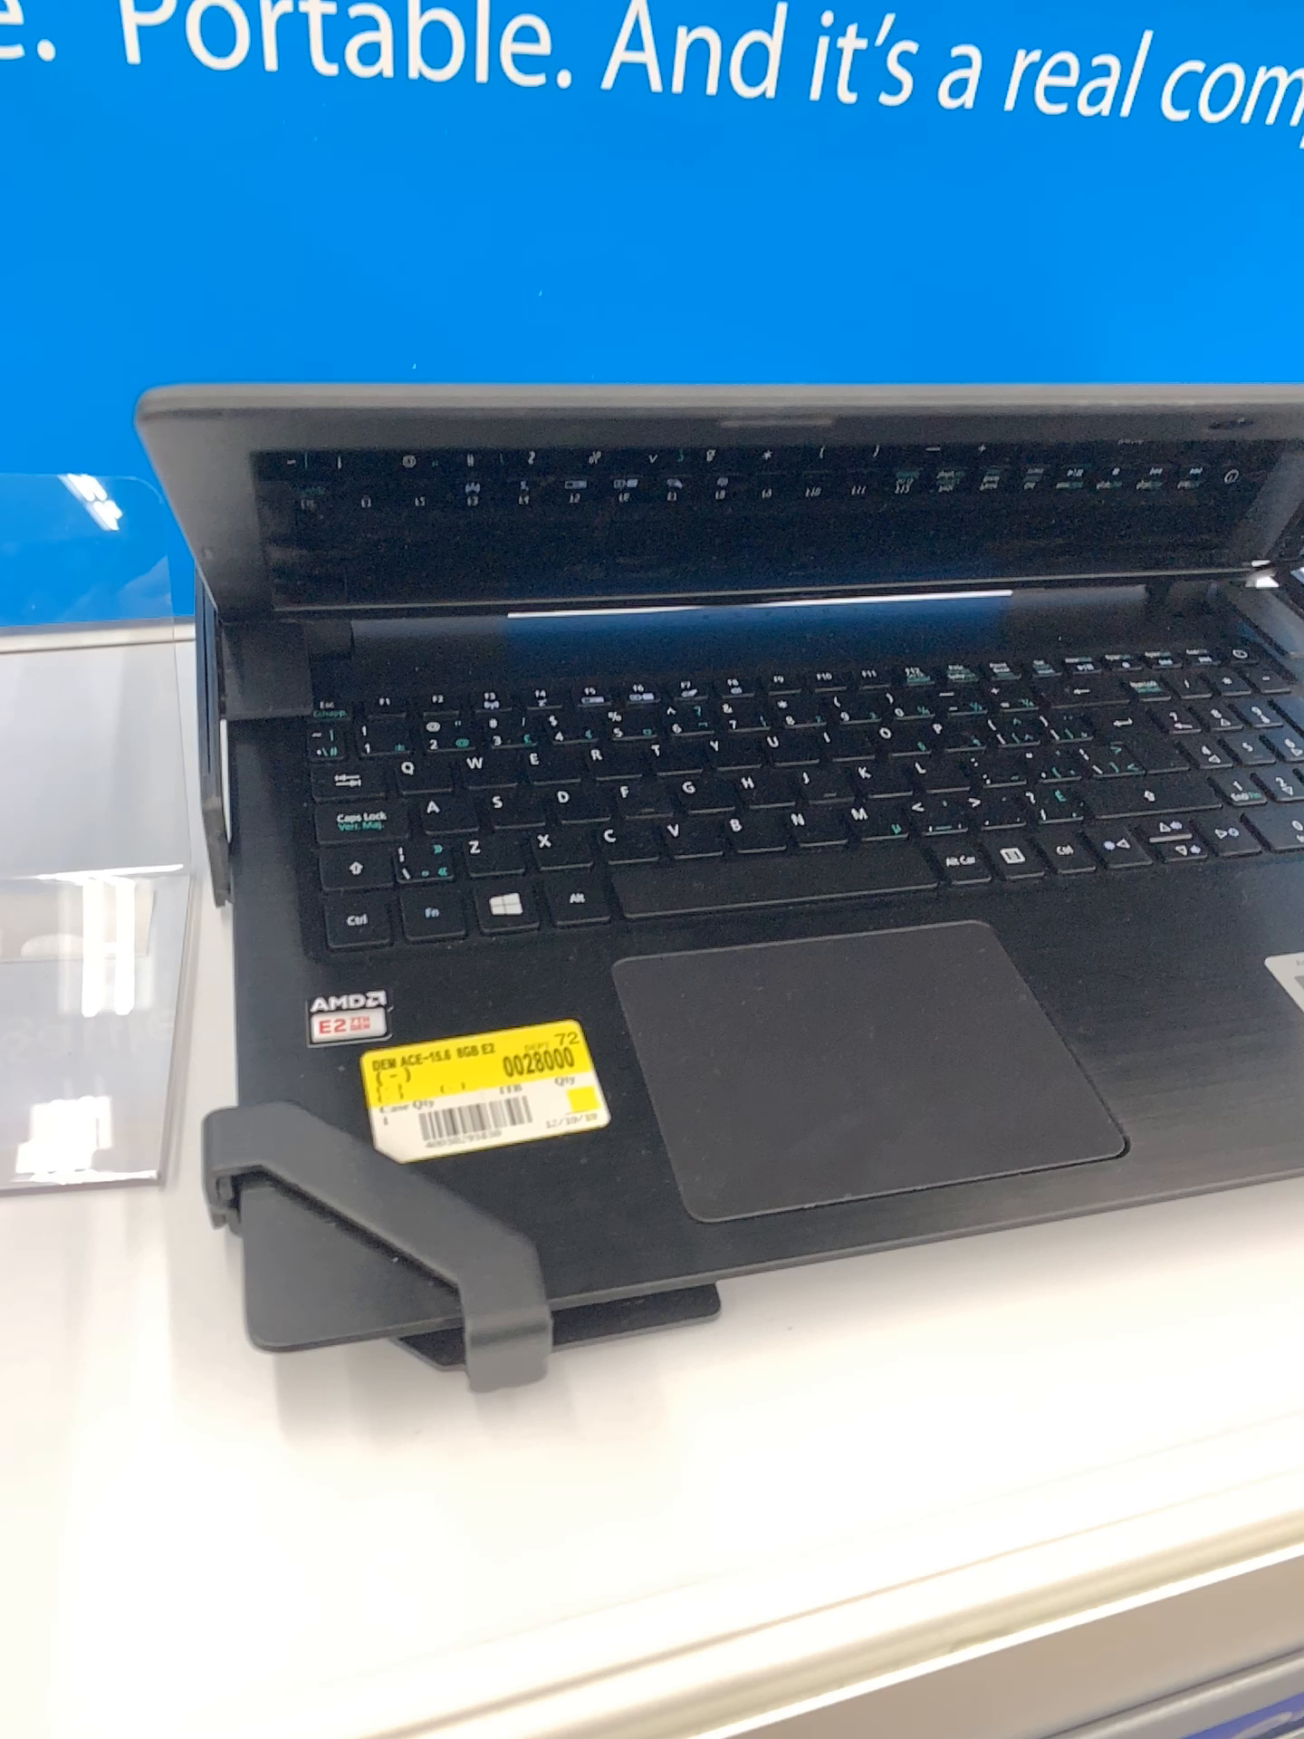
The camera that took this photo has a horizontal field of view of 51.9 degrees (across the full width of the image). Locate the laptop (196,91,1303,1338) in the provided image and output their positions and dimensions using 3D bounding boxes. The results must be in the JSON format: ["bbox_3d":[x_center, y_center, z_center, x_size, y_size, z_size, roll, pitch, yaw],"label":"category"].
[{"bbox_3d":[0.089,-0.065,0.328,0.365,0.146,0.234,-6,44,-15],"label":"laptop"}]
